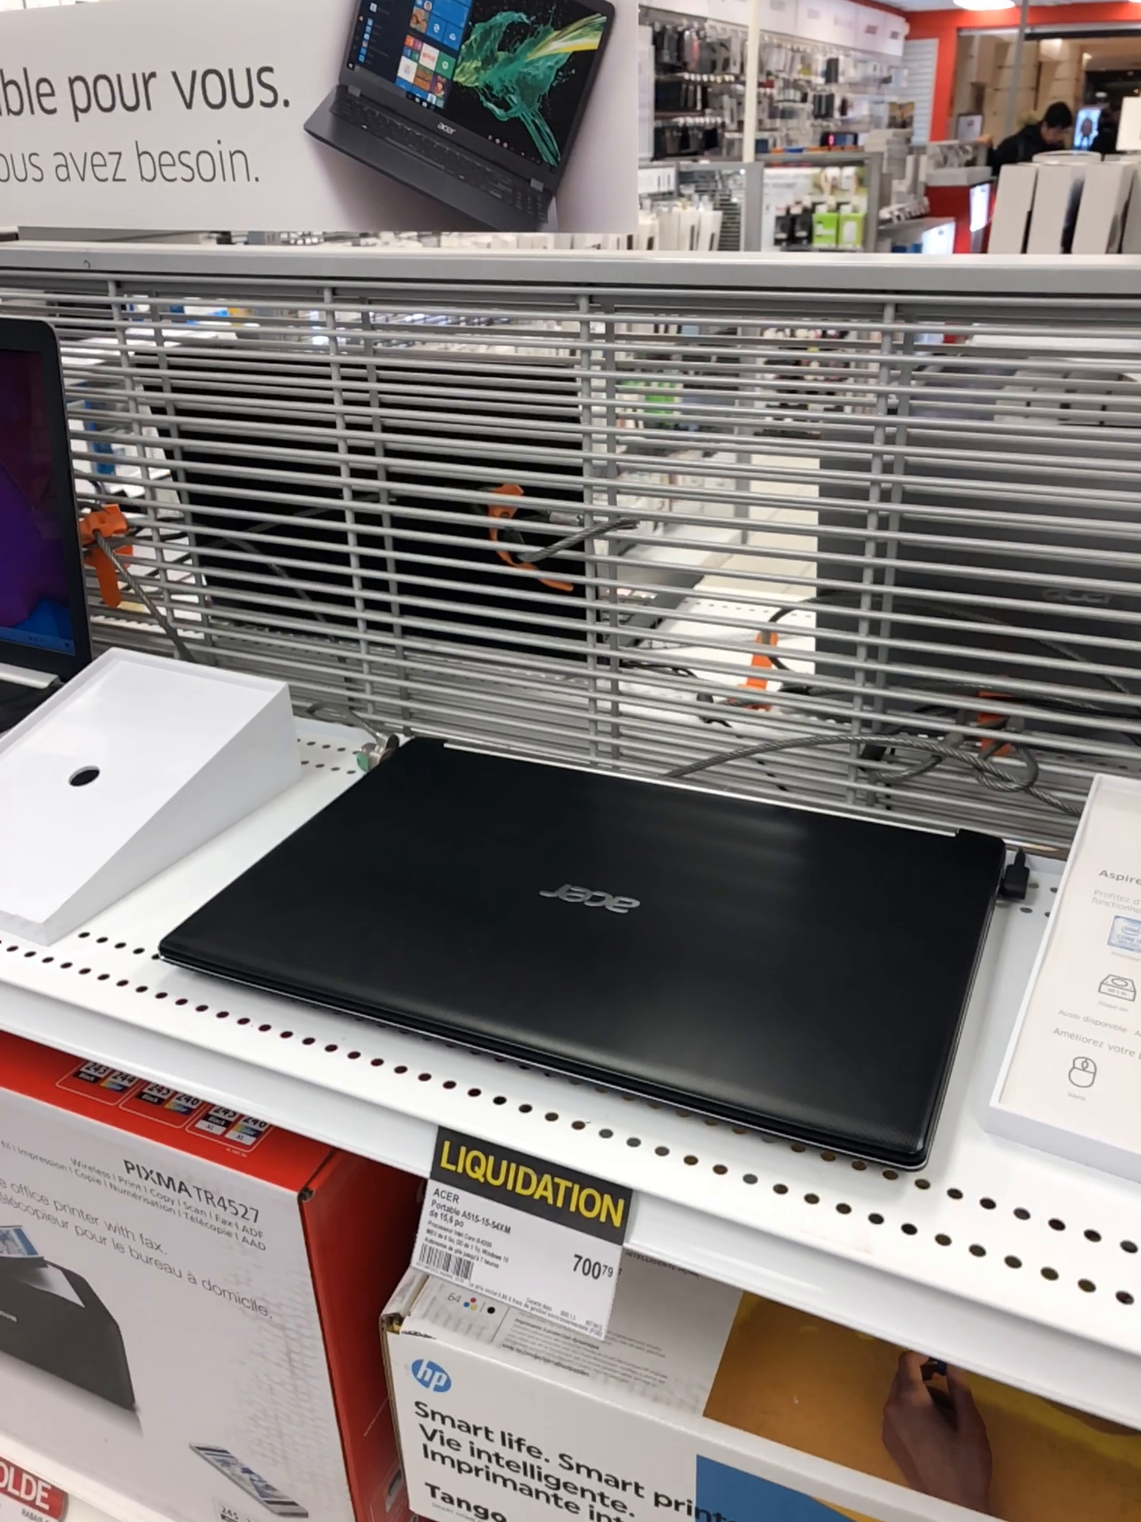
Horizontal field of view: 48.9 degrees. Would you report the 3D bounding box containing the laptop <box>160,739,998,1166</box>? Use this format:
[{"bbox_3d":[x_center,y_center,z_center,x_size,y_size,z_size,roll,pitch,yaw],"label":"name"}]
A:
[{"bbox_3d":[0.012,0.072,0.641,0.362,0.012,0.227,10,31,22],"label":"laptop"}]
